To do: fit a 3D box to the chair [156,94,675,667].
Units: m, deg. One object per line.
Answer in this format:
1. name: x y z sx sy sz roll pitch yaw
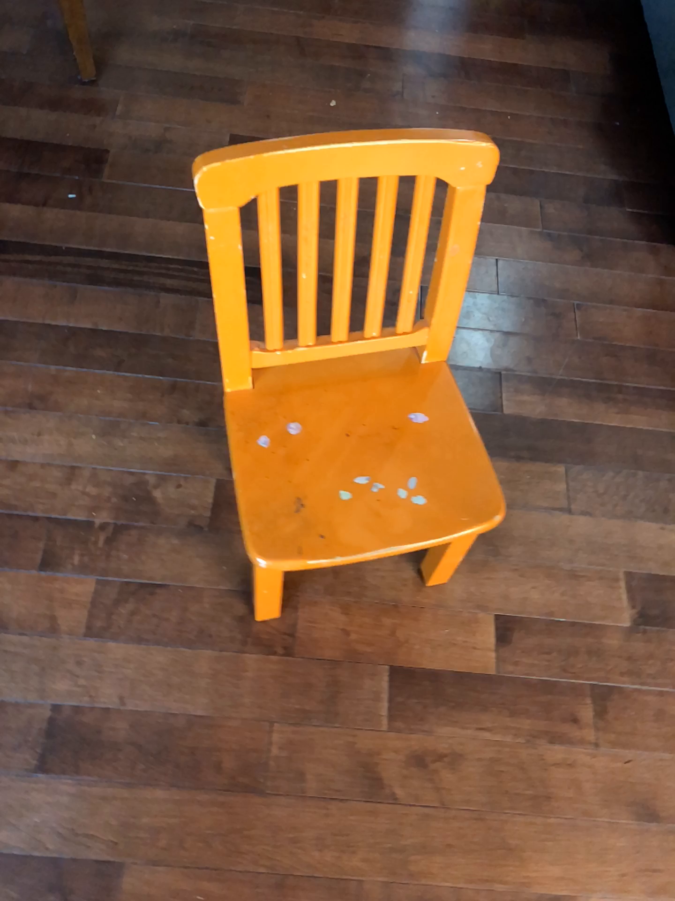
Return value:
1. chair: 0.035 -0.031 0.871 0.360 0.569 0.351 -11 61 -10
